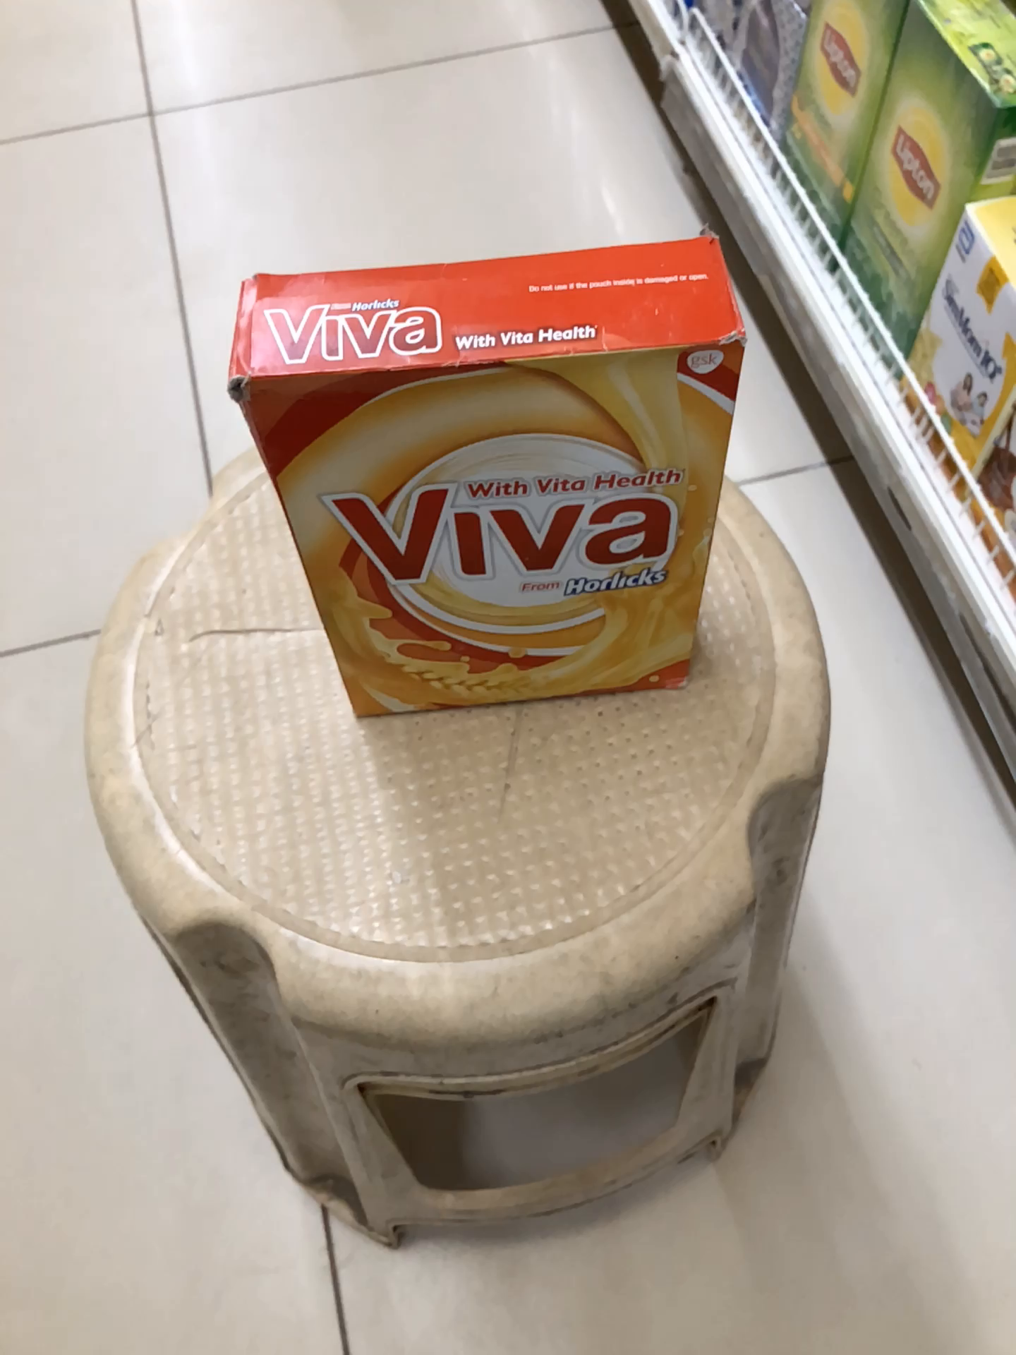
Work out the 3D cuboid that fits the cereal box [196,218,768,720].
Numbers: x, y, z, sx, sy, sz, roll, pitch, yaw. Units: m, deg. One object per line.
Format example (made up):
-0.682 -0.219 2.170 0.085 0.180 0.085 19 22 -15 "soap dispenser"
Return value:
-0.005 -0.060 0.413 0.160 0.199 0.050 -6 60 0 "cereal box"
